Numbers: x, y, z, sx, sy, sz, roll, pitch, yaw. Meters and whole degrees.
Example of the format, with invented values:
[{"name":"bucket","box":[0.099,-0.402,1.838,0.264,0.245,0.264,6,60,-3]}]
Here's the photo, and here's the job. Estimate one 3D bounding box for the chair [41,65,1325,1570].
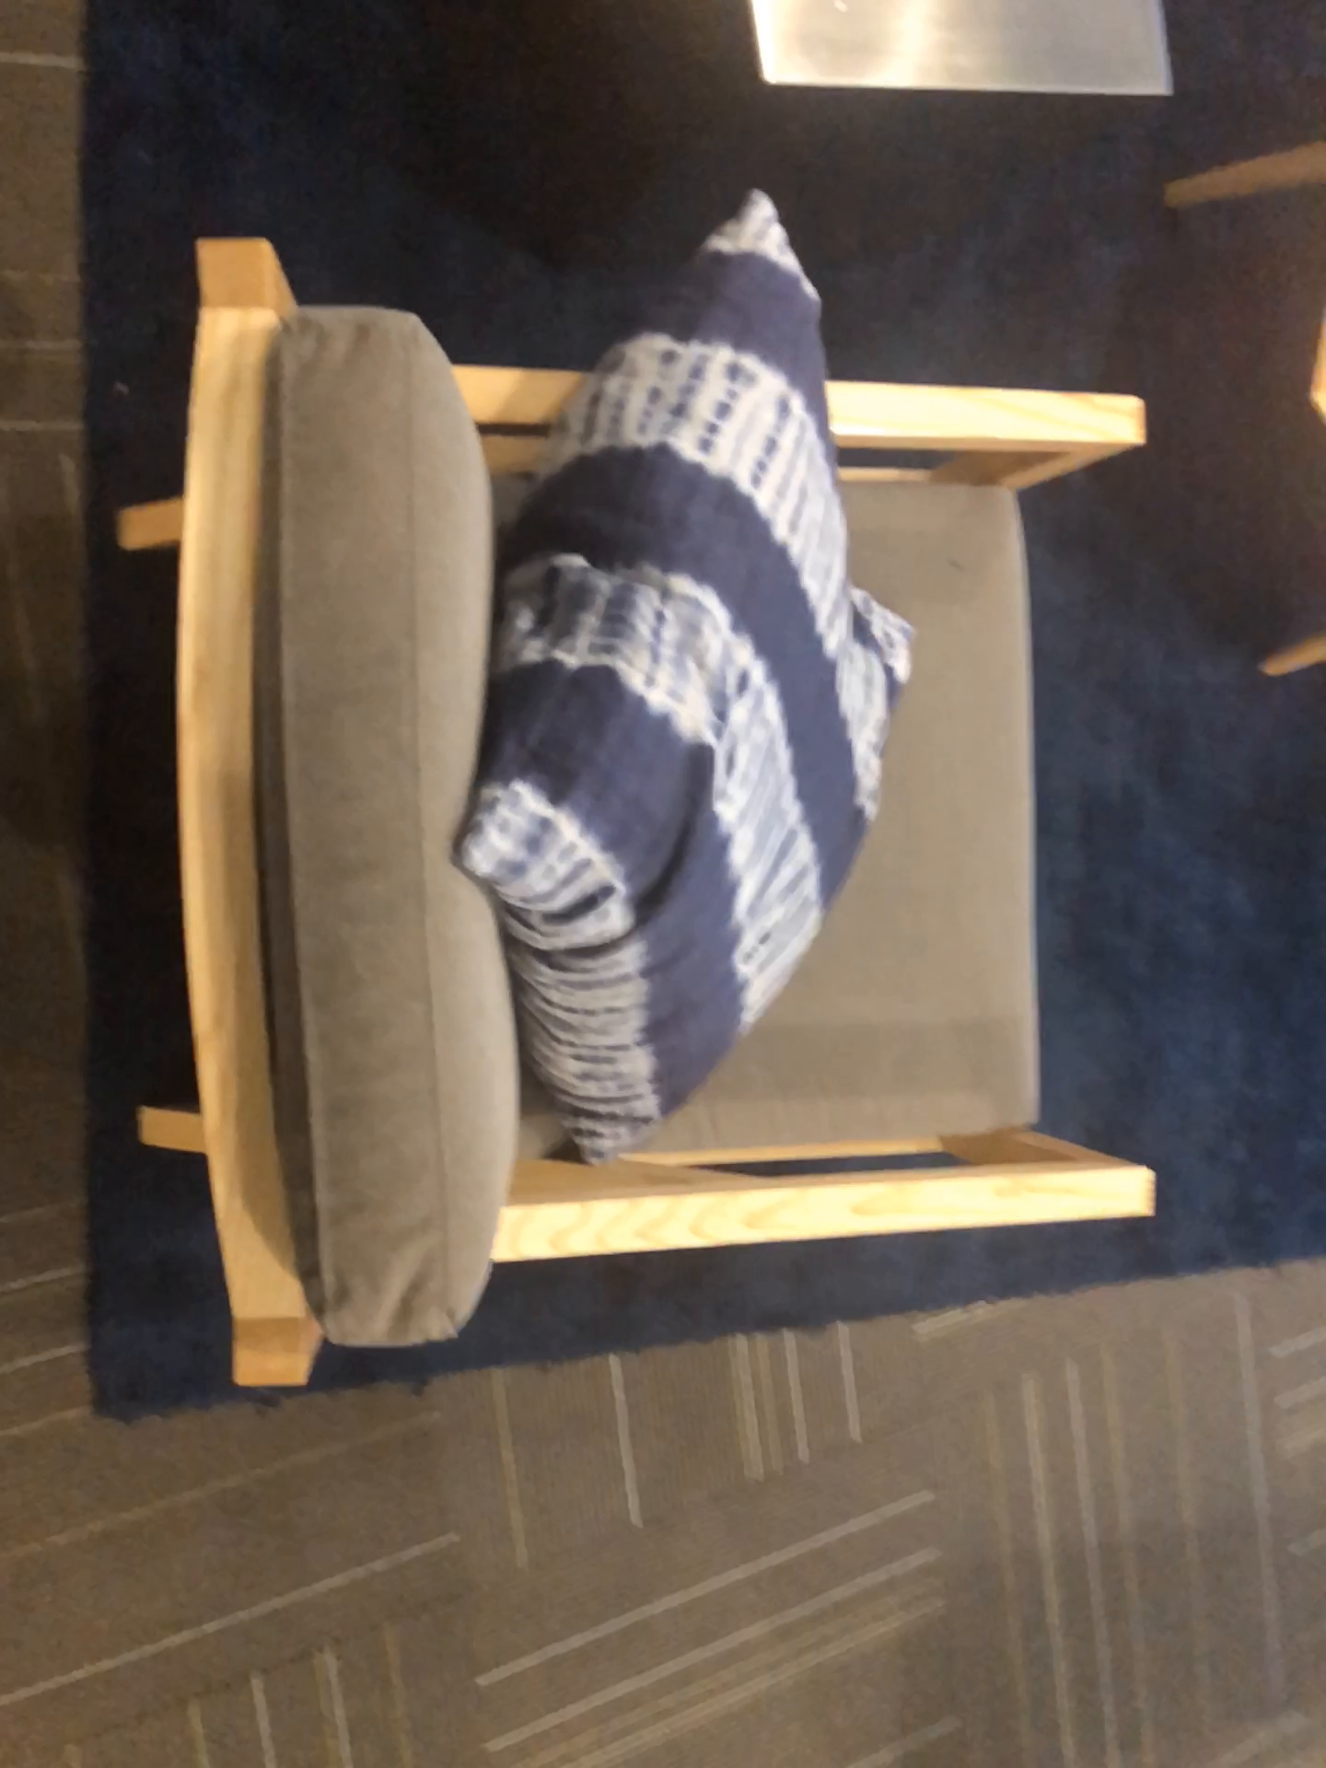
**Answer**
[{"name":"chair","box":[-0.028,-0.038,1.186,0.834,0.777,0.670,0,91,-26]}]
